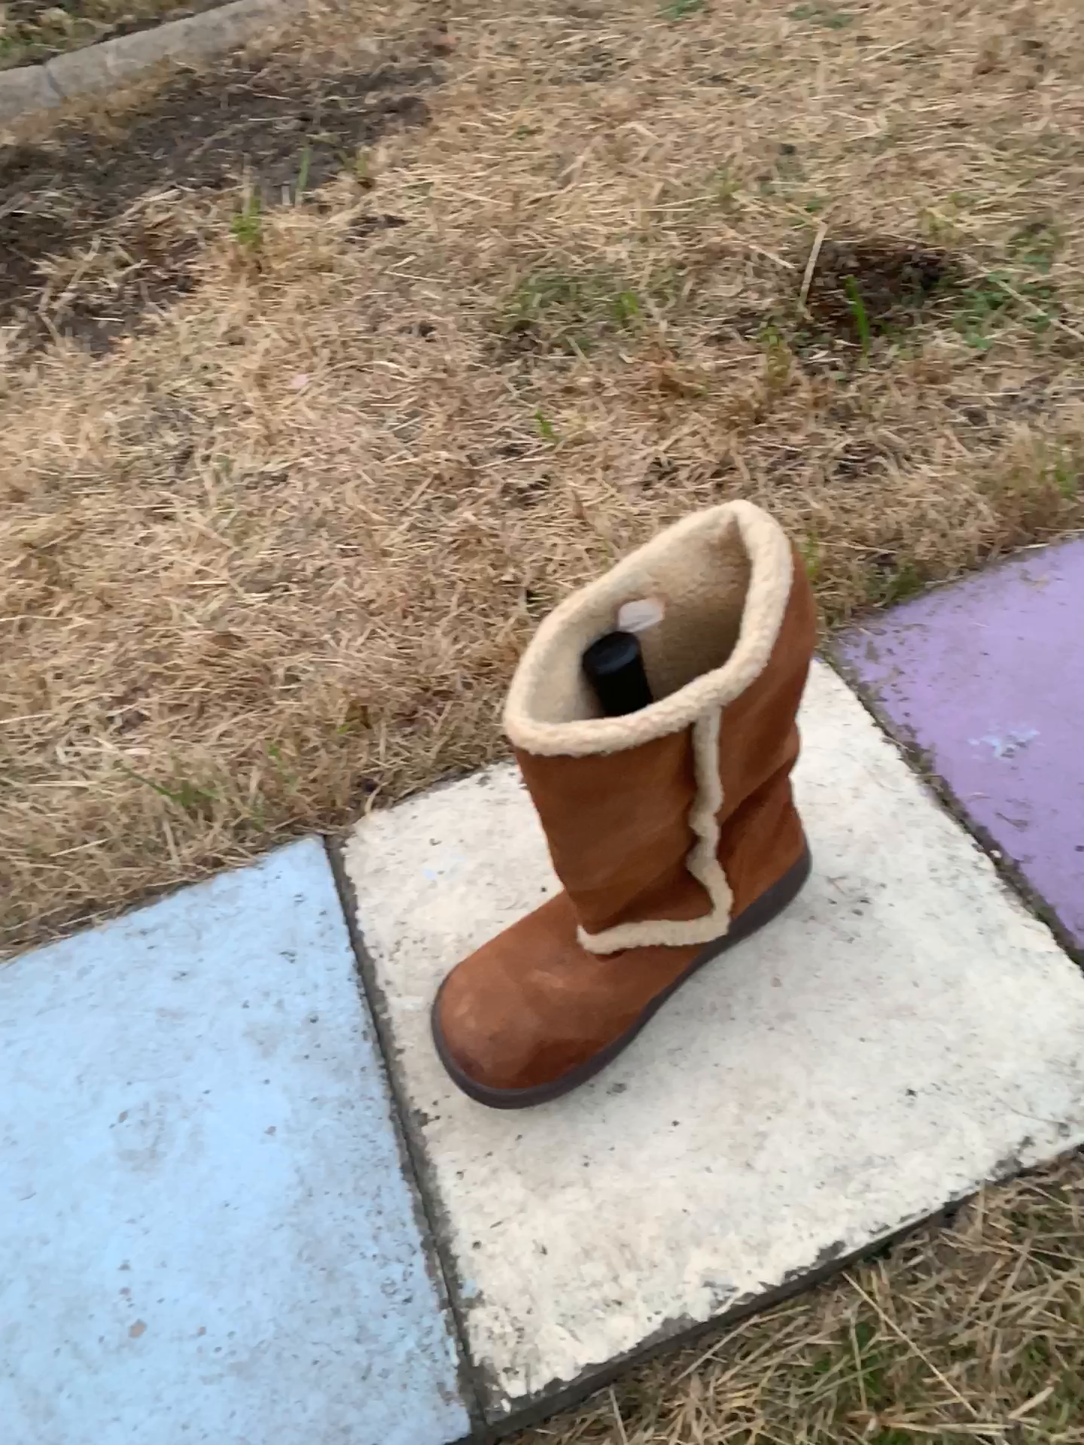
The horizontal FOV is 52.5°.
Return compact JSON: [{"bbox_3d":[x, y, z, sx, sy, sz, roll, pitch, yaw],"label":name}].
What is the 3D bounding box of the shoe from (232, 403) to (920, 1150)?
[{"bbox_3d":[0.035,0.043,0.554,0.260,0.297,0.111,-29,50,-13],"label":"shoe"}]
